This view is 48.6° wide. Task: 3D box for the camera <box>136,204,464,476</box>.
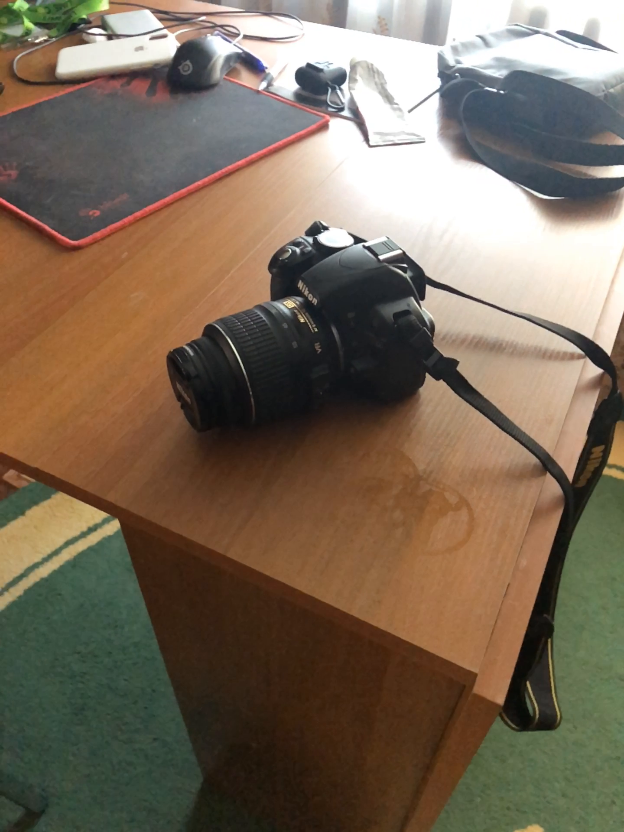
[{"bbox_3d":[-0.009,-0.055,0.437,0.161,0.078,0.111,-21,51,-21],"label":"camera"}]
